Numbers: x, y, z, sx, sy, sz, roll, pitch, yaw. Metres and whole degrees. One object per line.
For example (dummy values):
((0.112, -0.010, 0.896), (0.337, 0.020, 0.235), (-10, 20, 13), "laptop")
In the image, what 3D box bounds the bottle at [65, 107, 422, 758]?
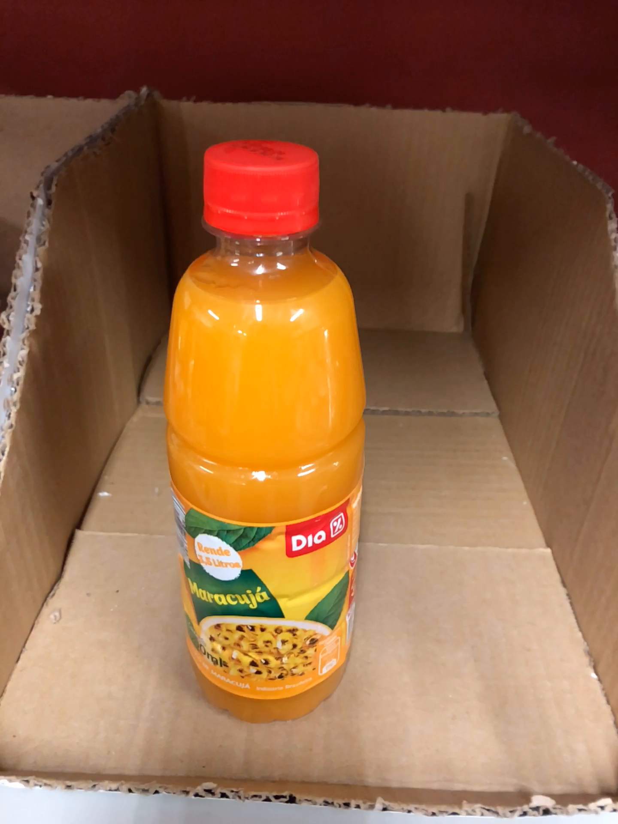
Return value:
((-0.012, 0.017, 0.224), (0.070, 0.199, 0.070), (1, 34, -1), "bottle")
